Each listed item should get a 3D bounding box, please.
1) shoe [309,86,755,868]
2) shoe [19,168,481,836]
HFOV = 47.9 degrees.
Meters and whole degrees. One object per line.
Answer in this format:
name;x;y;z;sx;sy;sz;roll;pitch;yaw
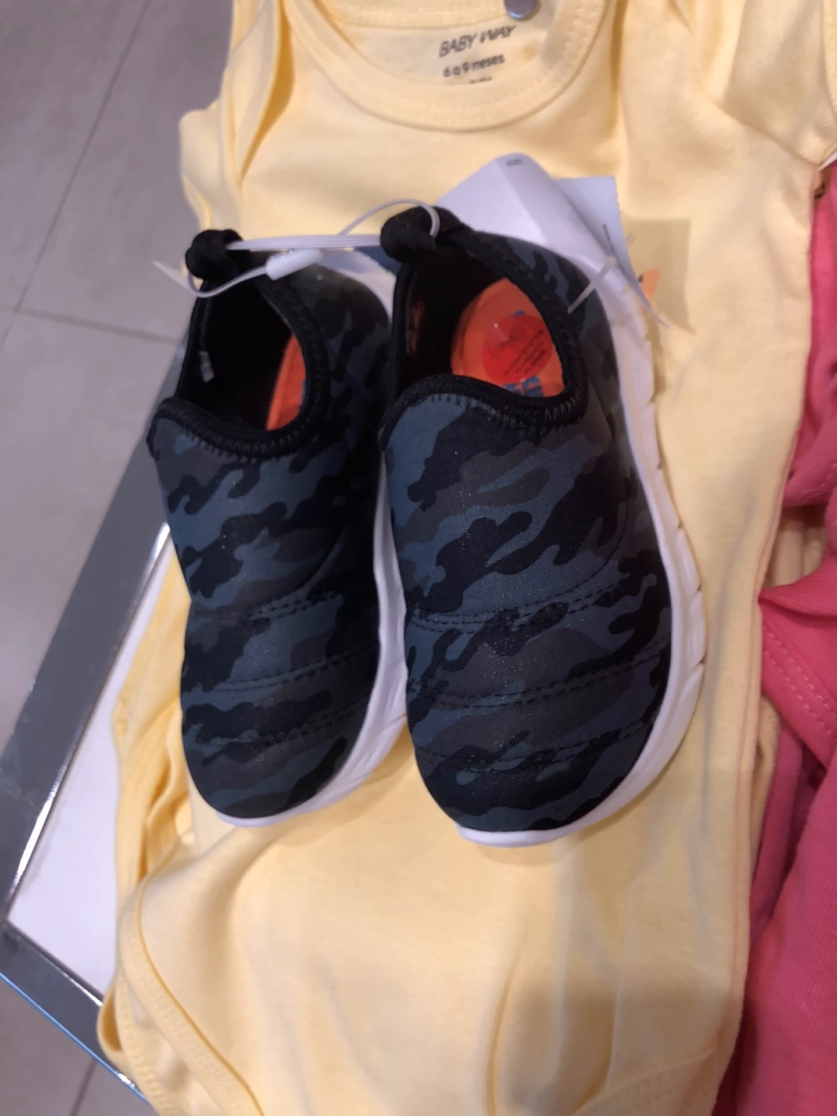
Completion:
shoe;0.024;-0.010;0.213;0.070;0.070;0.150;-10;70;25
shoe;-0.036;-0.007;0.252;0.070;0.080;0.150;-3;74;27
